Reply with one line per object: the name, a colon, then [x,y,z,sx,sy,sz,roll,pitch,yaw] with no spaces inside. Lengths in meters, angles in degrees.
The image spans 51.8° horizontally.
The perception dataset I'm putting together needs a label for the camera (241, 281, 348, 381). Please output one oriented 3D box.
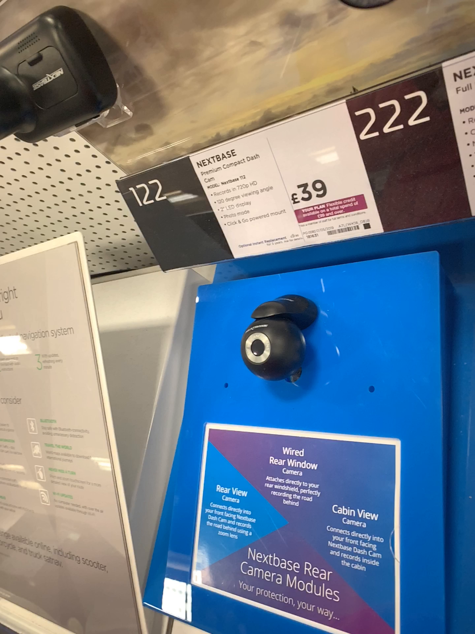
camera: [0.033,0.011,0.278,0.040,0.050,0.050,-6,79,37]
